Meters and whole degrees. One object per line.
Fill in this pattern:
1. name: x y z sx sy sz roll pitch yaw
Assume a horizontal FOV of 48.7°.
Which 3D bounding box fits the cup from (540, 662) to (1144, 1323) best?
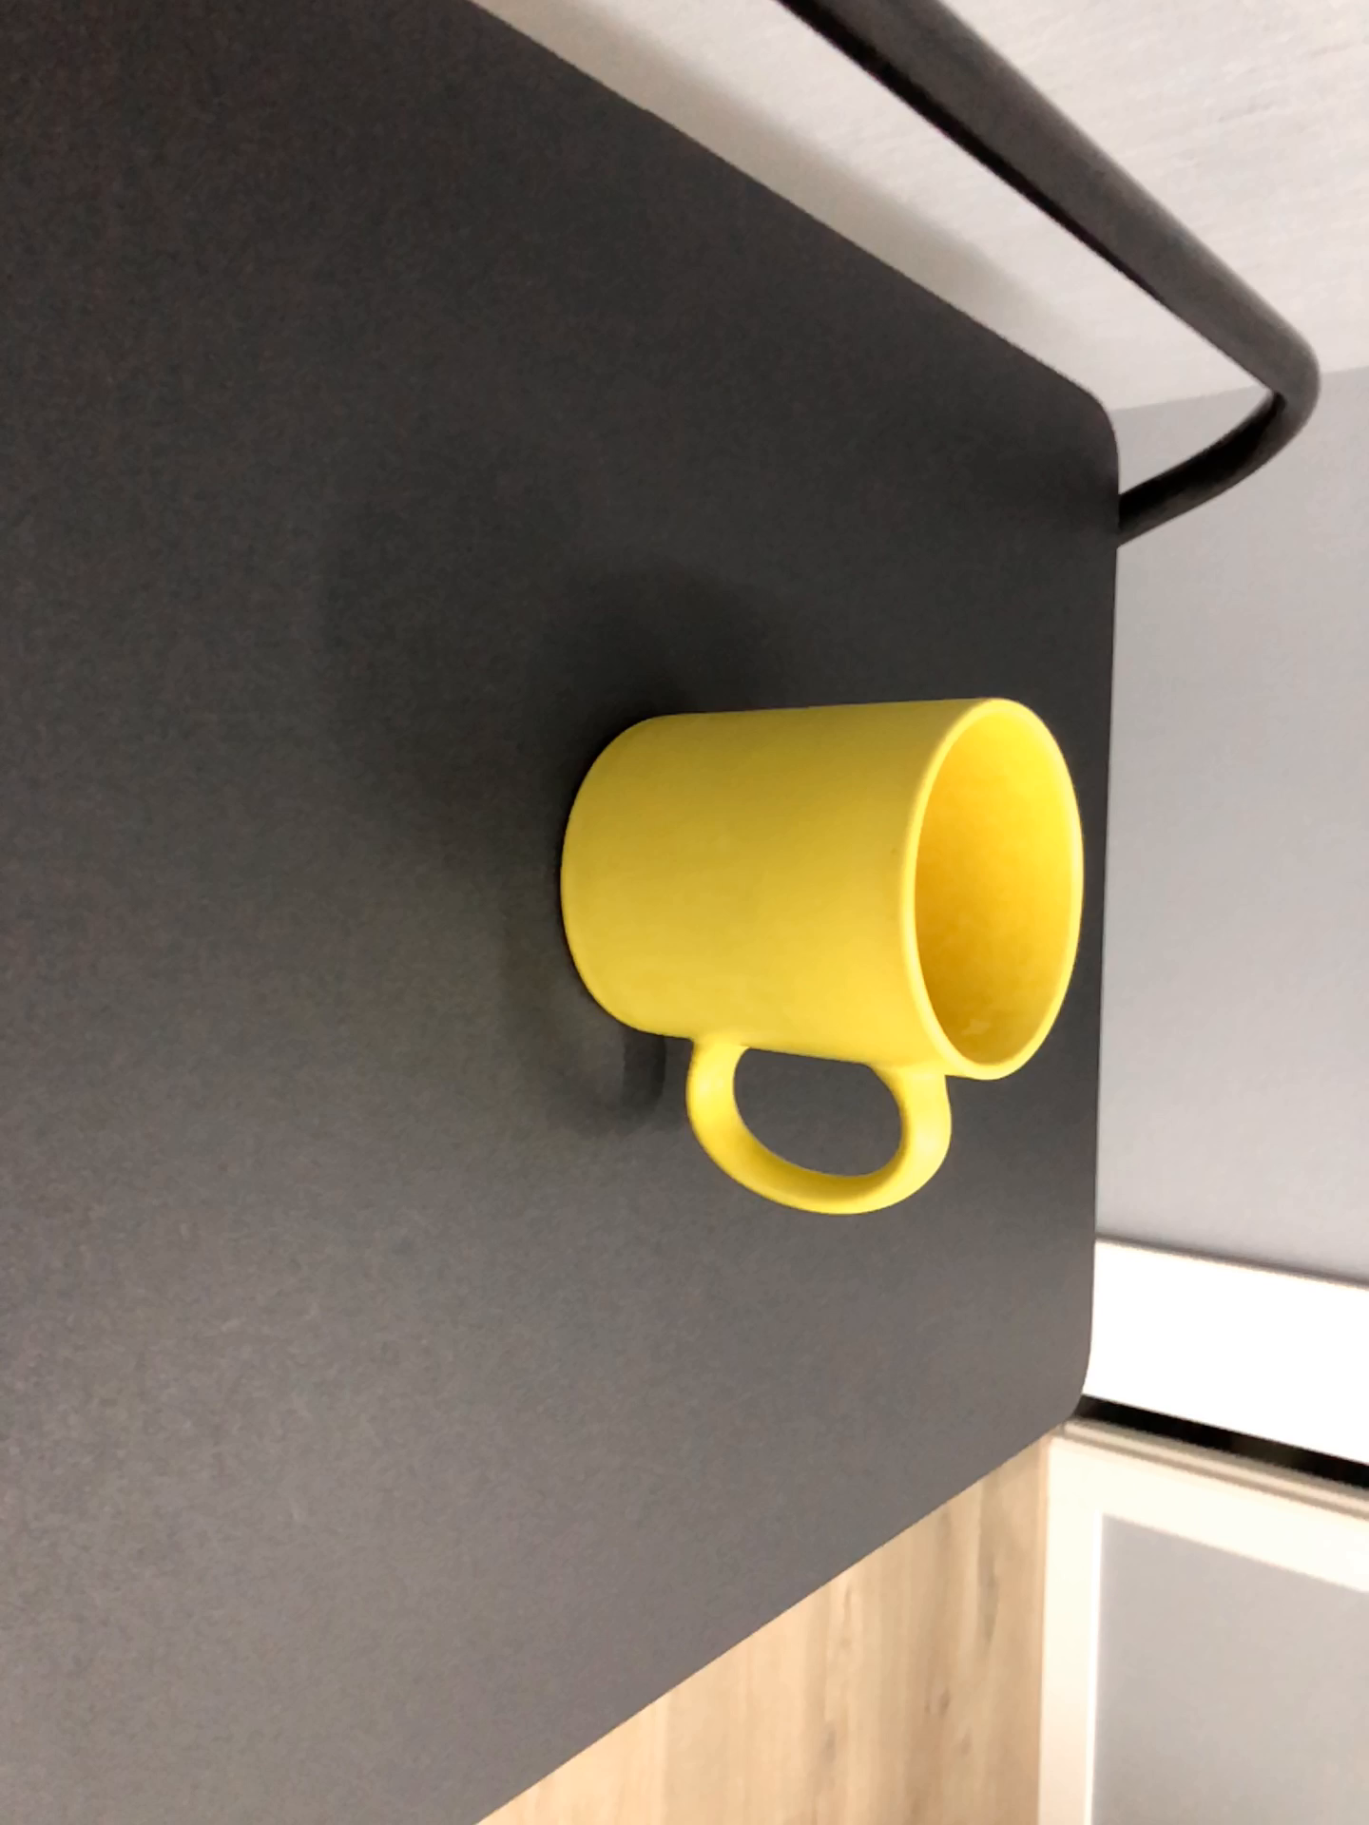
1. cup: 0.040 0.010 0.355 0.090 0.101 0.125 -16 105 -51
